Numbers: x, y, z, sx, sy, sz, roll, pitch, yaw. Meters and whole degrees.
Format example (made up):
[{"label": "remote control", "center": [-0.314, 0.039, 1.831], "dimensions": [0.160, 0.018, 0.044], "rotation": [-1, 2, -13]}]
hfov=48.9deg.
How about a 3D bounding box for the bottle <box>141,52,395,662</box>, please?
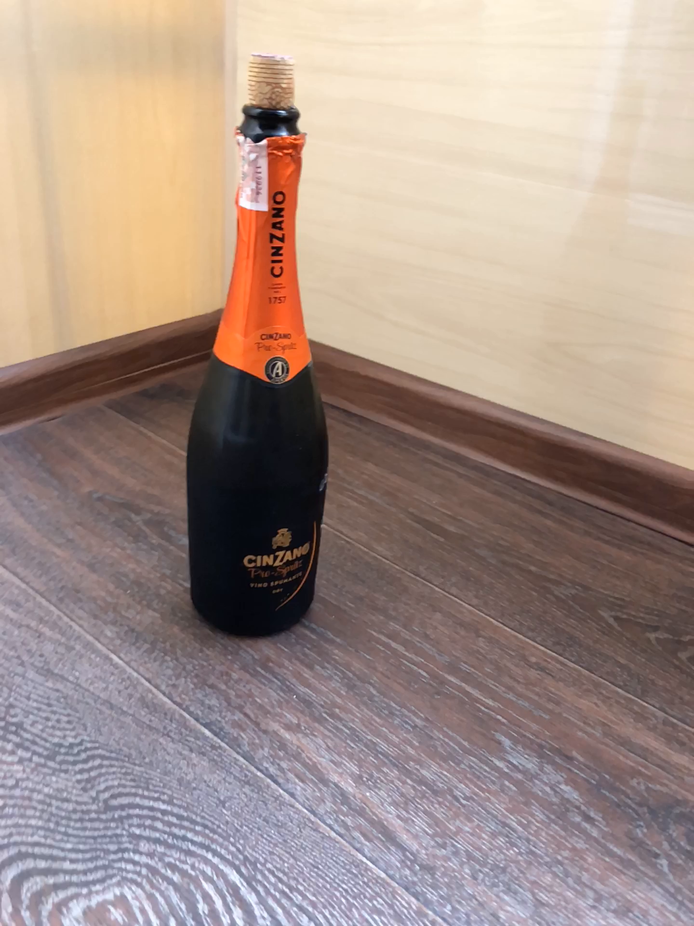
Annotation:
[{"label": "bottle", "center": [-0.054, -0.052, 0.452], "dimensions": [0.092, 0.328, 0.100], "rotation": [4, 28, -2]}]
